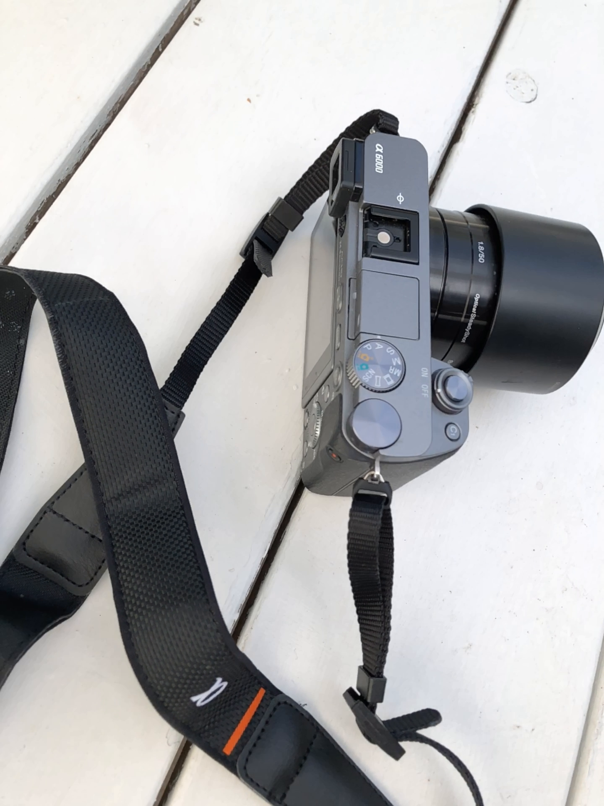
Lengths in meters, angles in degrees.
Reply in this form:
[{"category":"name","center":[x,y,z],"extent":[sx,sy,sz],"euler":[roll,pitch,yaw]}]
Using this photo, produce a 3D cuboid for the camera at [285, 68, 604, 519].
[{"category":"camera","center":[0.057,-0.036,0.257],"extent":[0.110,0.070,0.140],"euler":[6,68,-13]}]
